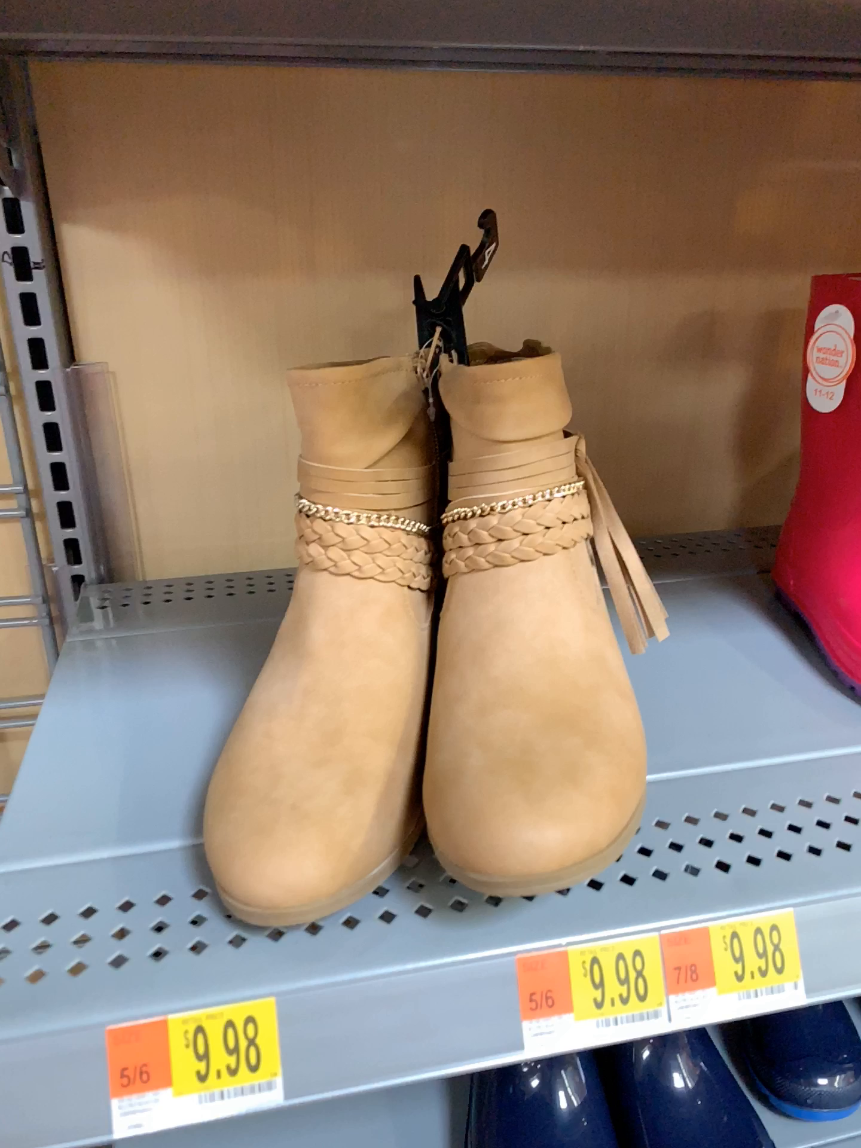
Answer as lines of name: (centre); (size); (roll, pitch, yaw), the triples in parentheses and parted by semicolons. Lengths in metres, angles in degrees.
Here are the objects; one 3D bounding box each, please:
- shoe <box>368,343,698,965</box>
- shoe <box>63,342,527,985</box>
shoe: (0.035, 0.004, 0.361); (0.083, 0.154, 0.239); (2, 23, 5)
shoe: (-0.027, 0.008, 0.354); (0.088, 0.161, 0.218); (6, 24, 14)
